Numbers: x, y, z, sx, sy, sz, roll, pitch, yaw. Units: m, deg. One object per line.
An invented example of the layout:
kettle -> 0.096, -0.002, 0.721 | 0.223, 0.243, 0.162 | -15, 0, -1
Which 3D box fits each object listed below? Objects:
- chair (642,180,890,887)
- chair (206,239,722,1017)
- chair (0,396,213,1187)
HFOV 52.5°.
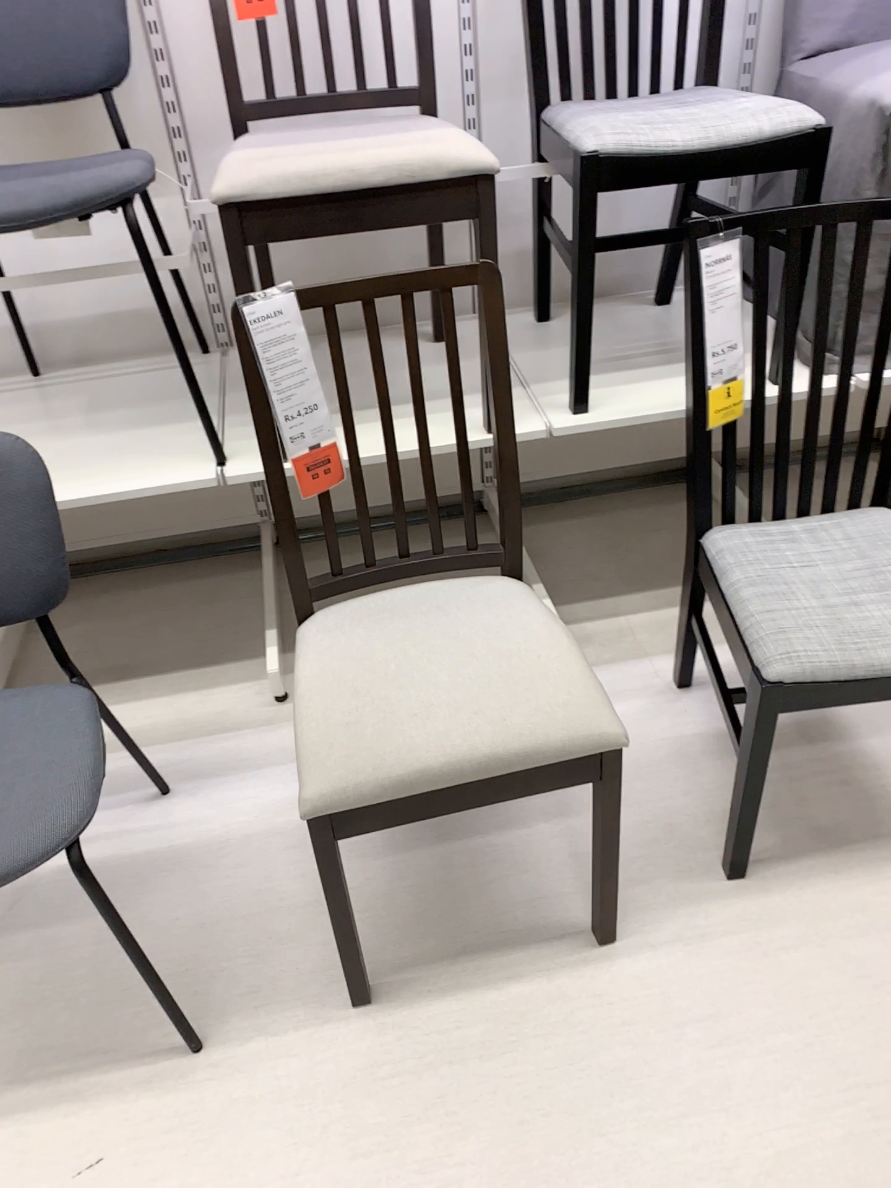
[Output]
chair -> 0.643, -0.073, 1.416 | 0.480, 0.916, 0.532 | -7, 37, -2
chair -> 0.003, 0.065, 1.301 | 0.480, 0.916, 0.532 | -11, 37, -7
chair -> -0.725, 0.258, 1.277 | 0.570, 0.786, 0.613 | -13, 38, -10
